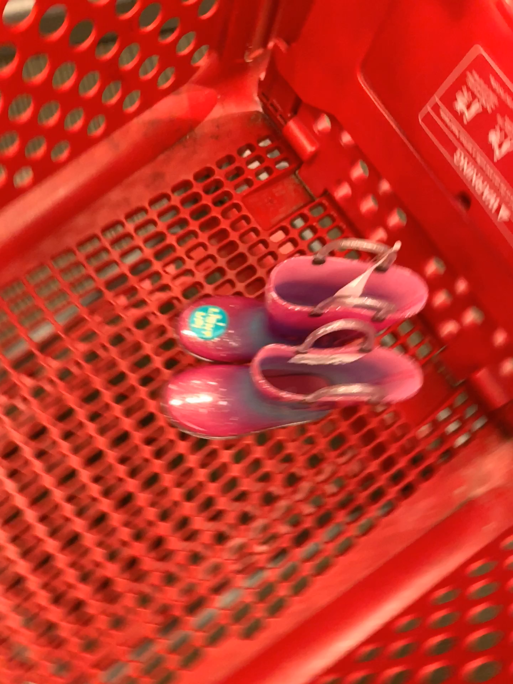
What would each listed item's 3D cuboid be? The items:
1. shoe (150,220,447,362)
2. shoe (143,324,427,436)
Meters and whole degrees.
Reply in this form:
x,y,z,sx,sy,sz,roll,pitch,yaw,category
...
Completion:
x,y,z,sx,sy,sz,roll,pitch,yaw,category
0.025,-0.031,0.428,0.200,0.140,0.070,2,80,-6,shoe
0.013,0.036,0.426,0.190,0.140,0.070,-1,81,-6,shoe
